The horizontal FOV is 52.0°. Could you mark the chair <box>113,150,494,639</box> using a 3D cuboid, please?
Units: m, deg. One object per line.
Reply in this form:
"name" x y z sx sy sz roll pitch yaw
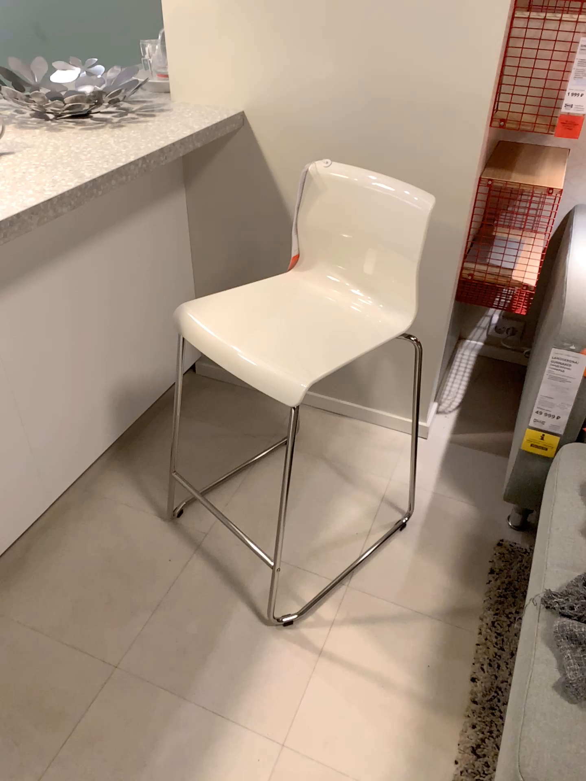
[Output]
"chair" 0.009 -0.003 1.439 0.542 0.905 0.511 -27 45 -33
